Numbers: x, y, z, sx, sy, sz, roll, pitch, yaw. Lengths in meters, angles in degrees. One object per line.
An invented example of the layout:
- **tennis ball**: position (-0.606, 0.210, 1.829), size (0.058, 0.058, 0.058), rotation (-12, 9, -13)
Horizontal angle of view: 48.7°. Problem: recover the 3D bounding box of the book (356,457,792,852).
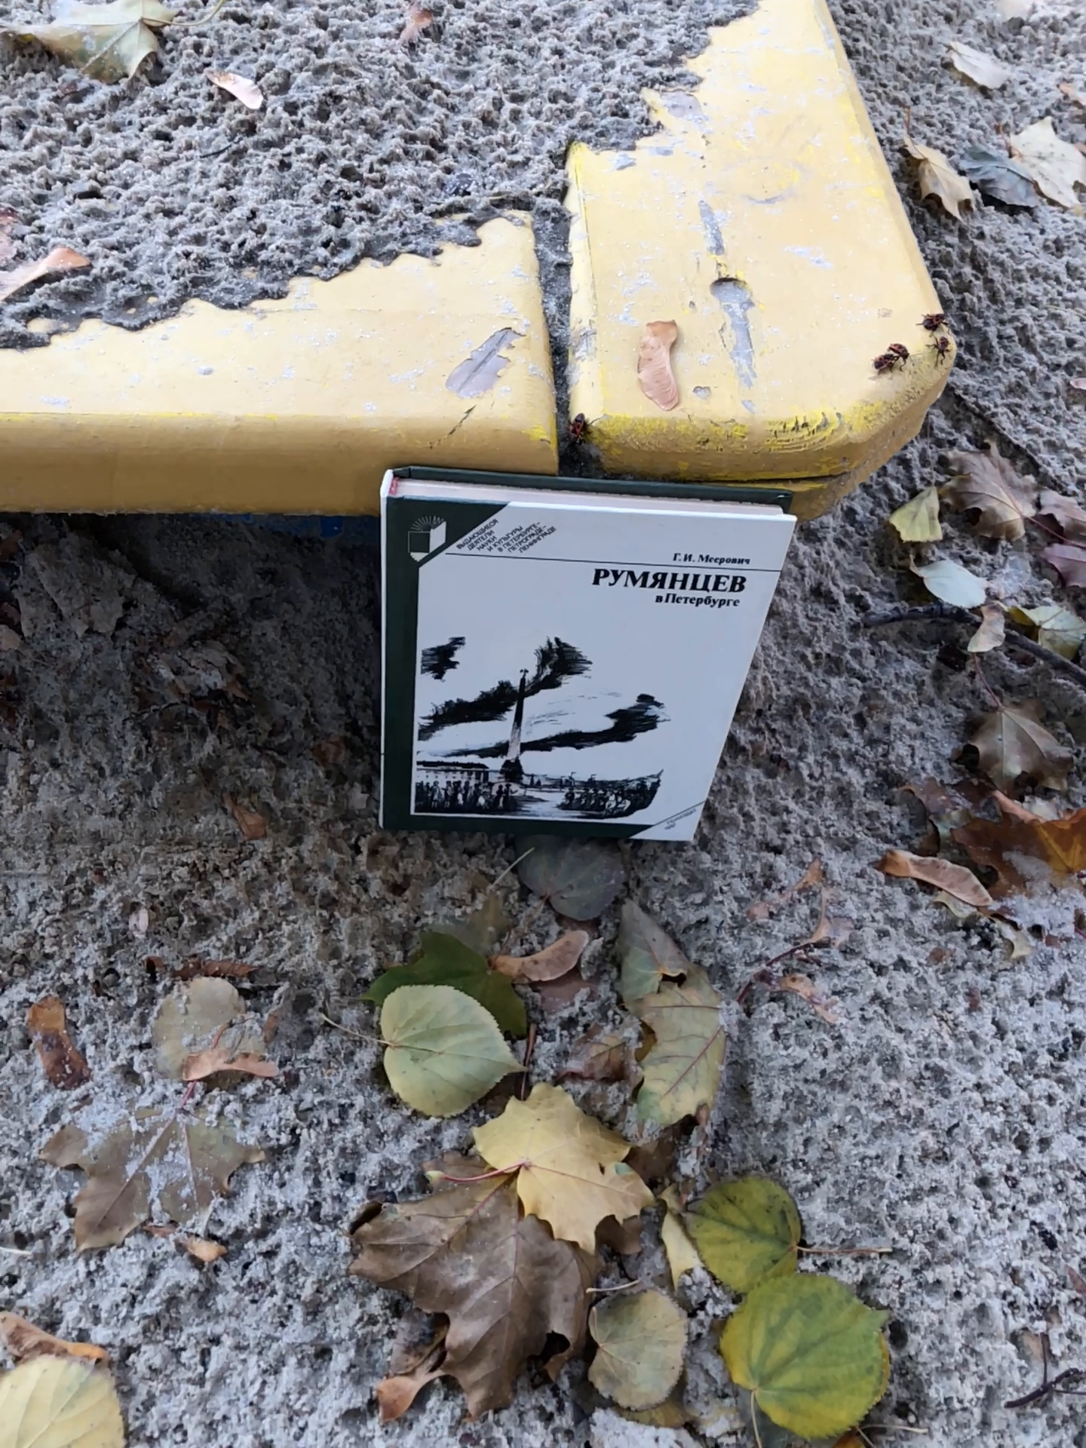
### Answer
- **book**: position (0.007, -0.019, 0.441), size (0.140, 0.155, 0.020), rotation (4, 40, 1)
